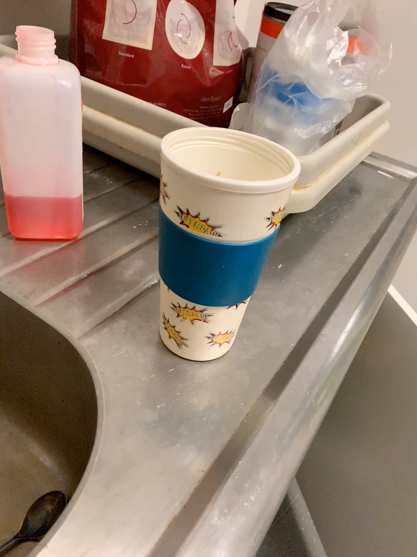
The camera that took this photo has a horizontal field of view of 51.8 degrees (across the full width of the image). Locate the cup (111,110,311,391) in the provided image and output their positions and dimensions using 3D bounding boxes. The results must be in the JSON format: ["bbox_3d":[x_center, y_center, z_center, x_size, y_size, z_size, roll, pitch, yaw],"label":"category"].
[{"bbox_3d":[-0.007,-0.021,0.324,0.092,0.167,0.090,7,36,-5],"label":"cup"}]
